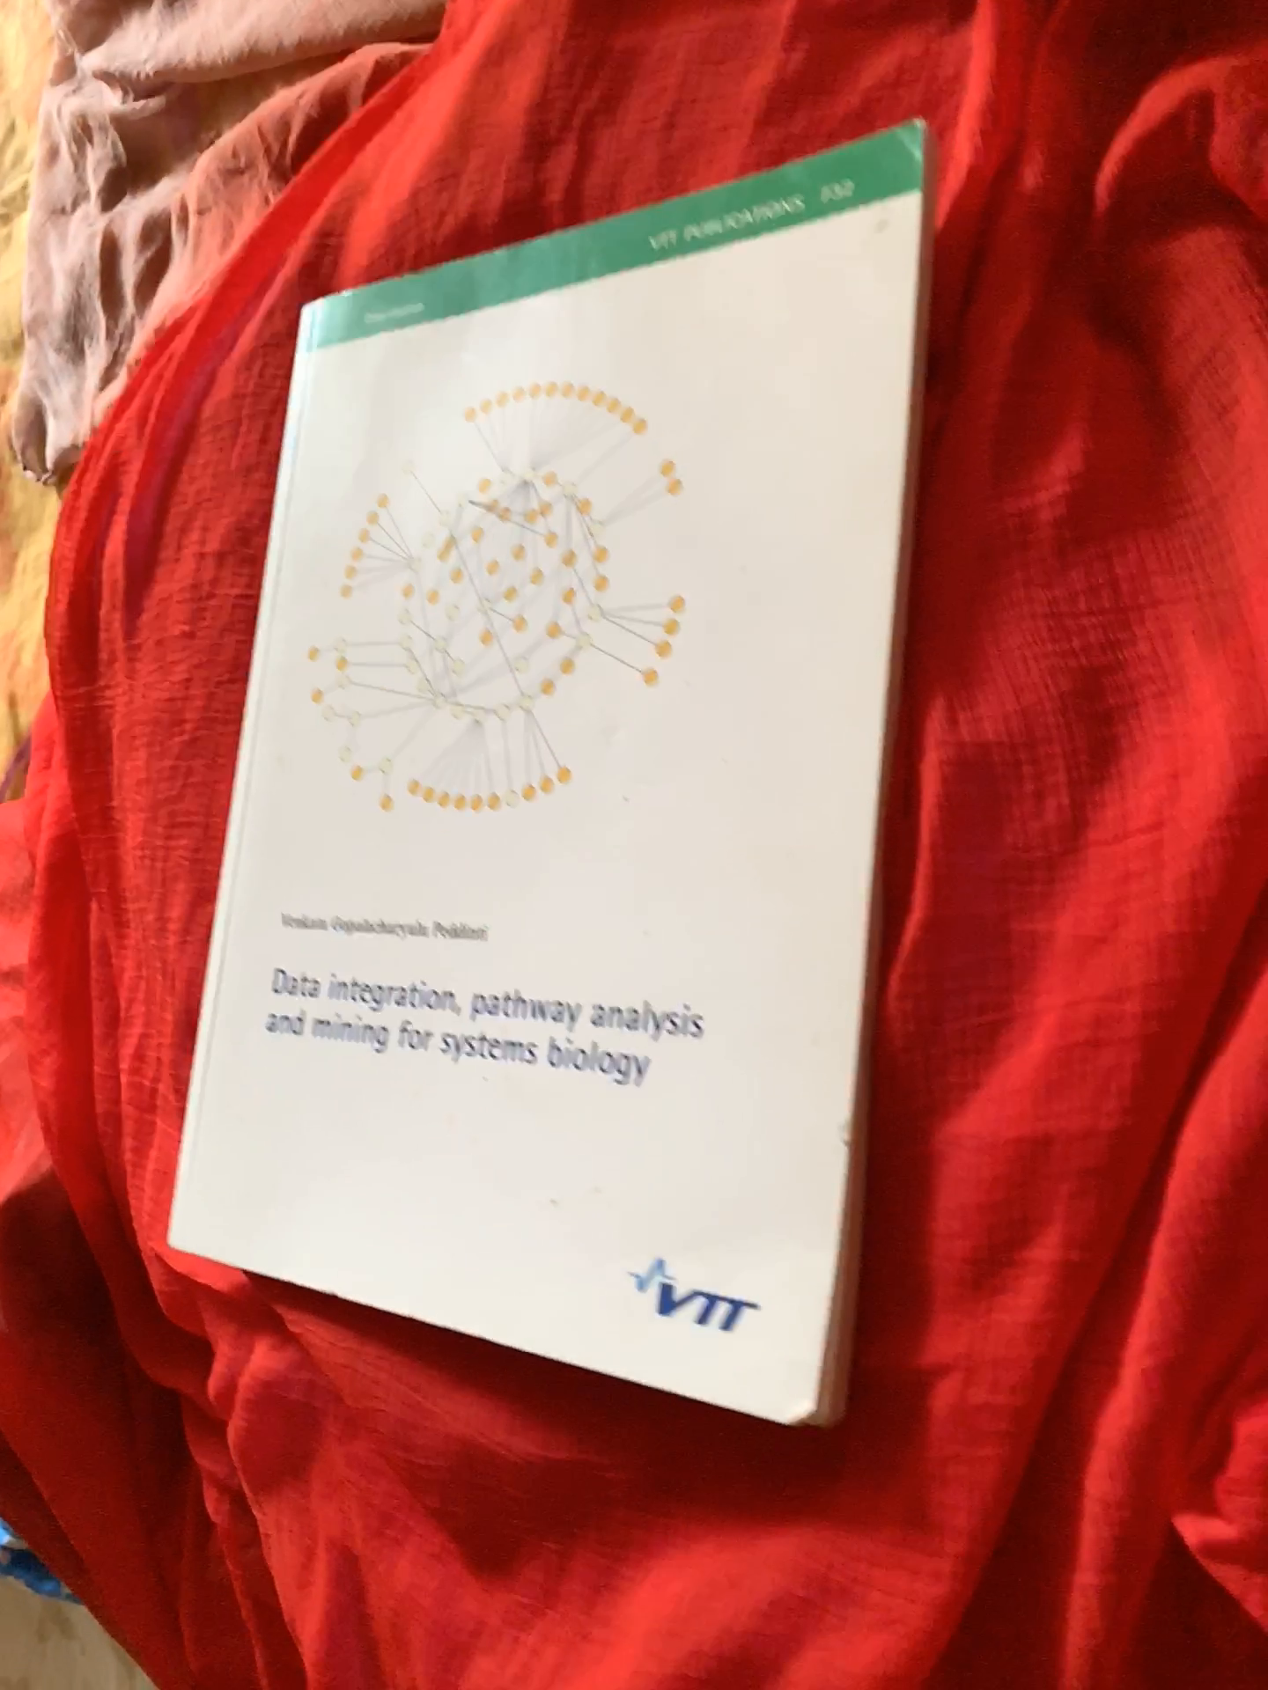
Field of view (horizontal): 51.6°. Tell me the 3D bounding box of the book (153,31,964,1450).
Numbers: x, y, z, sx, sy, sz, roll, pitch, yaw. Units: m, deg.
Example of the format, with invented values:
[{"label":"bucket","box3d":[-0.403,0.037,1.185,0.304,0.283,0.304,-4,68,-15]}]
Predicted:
[{"label":"book","box3d":[-0.024,-0.029,0.301,0.181,0.020,0.270,0,79,35]}]
